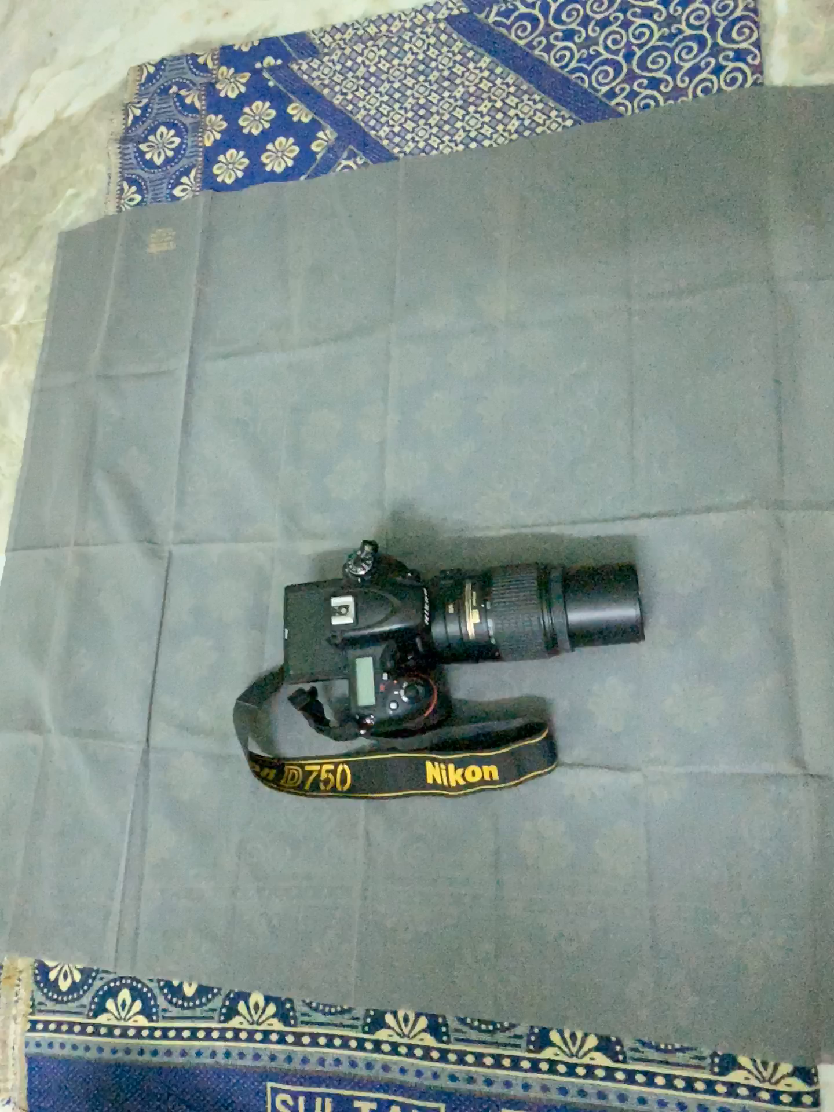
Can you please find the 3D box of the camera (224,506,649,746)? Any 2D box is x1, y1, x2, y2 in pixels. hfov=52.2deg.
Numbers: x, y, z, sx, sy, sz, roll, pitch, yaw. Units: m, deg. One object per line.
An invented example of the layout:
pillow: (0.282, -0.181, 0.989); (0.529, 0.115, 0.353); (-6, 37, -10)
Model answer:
camera: (0.015, 0.063, 0.632); (0.288, 0.110, 0.147); (-5, 75, 18)
